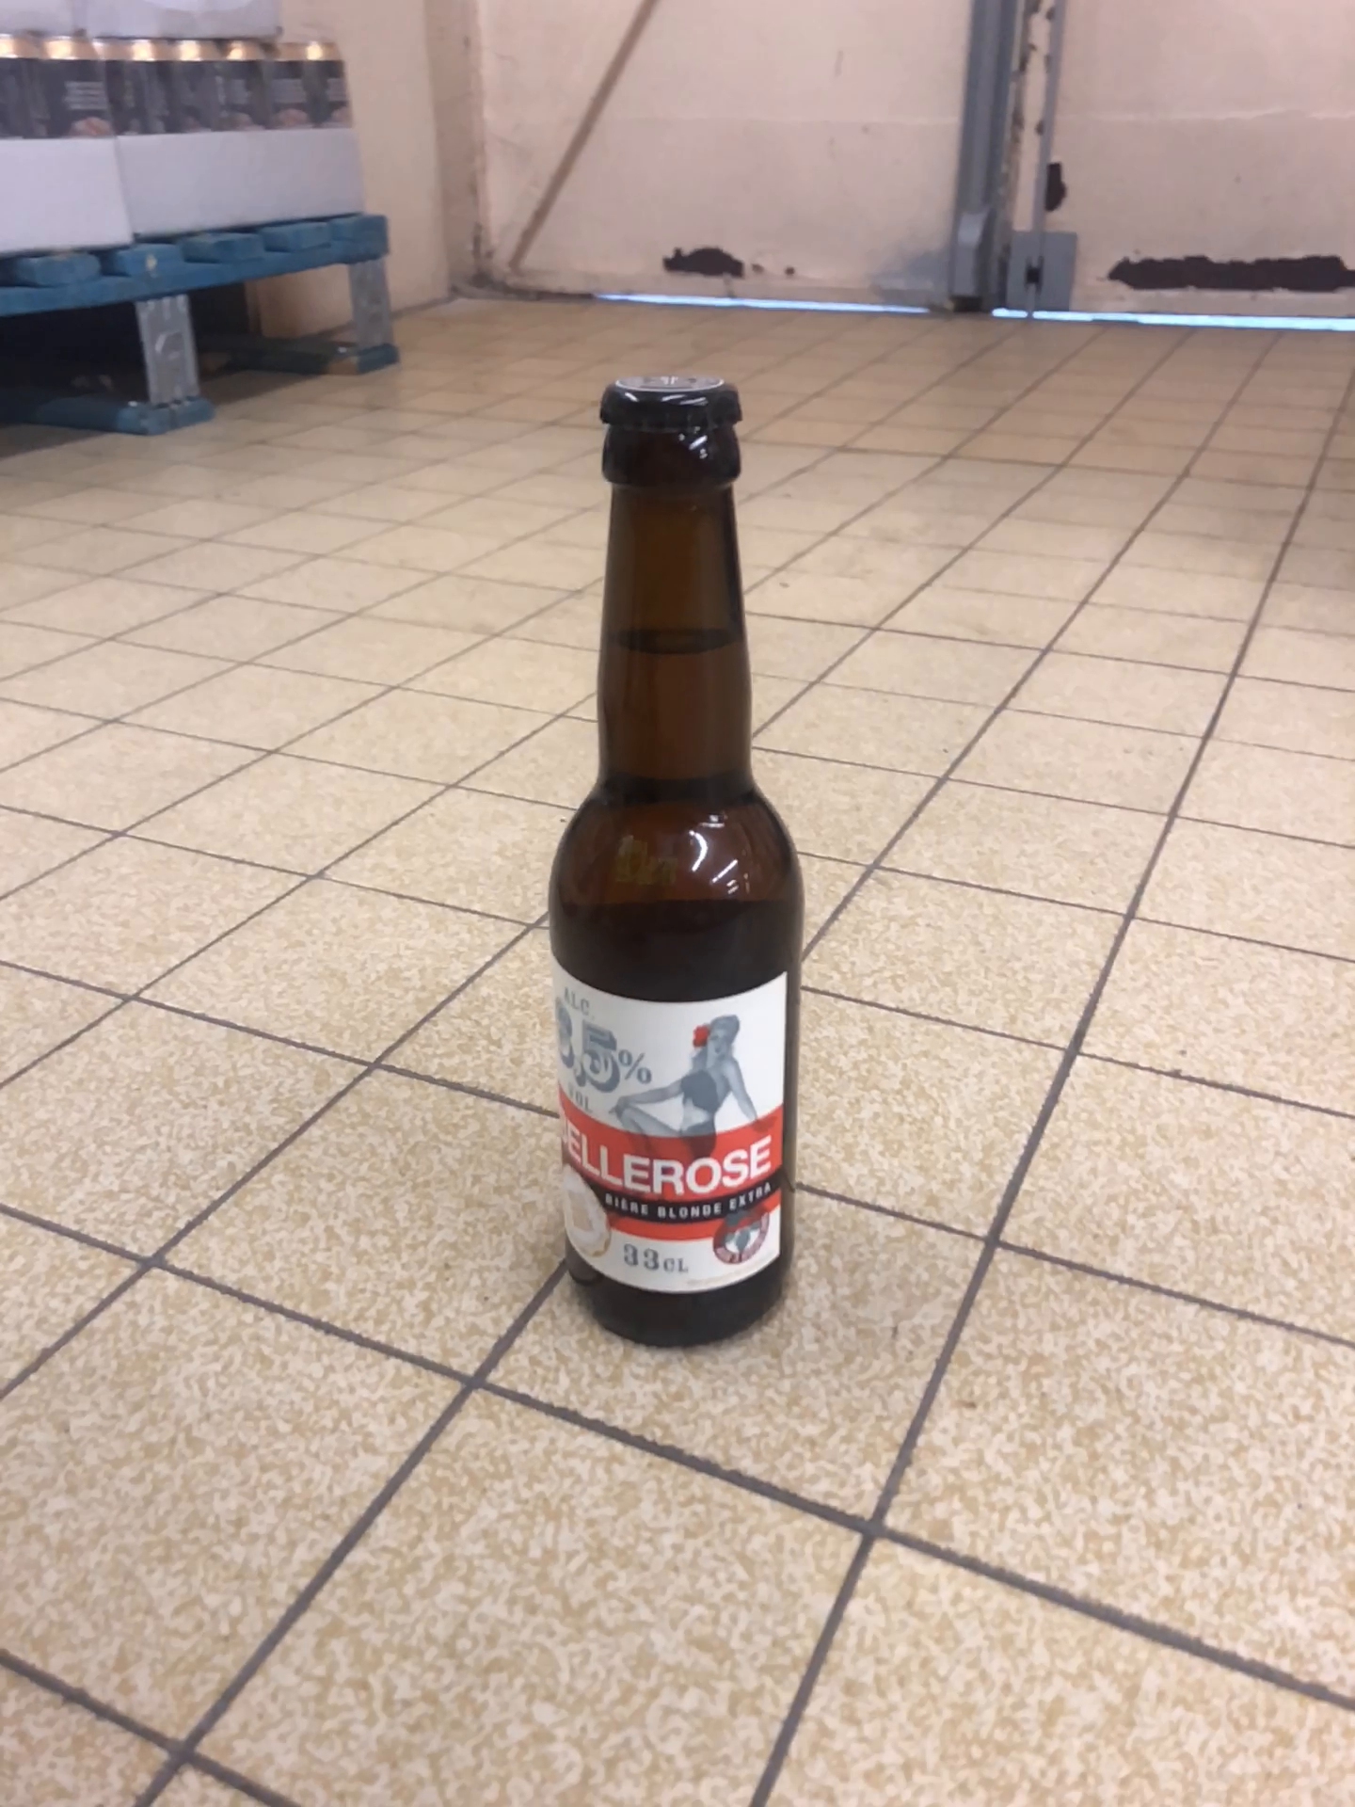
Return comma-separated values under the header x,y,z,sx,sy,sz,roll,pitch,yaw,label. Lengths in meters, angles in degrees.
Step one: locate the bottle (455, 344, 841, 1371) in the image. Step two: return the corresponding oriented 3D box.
x,y,z,sx,sy,sz,roll,pitch,yaw,label
-0.002,-0.006,0.338,0.060,0.219,0.070,5,27,11,bottle
